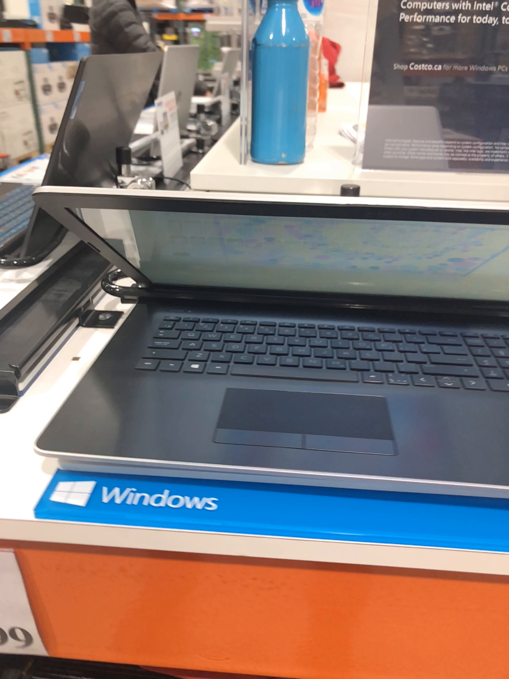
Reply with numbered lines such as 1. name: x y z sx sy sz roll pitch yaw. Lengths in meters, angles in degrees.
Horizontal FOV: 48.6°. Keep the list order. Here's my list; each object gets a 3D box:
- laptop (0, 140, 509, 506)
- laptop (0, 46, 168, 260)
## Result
1. laptop: 0.077 -0.044 0.406 0.405 0.150 0.259 3 26 5
2. laptop: -0.323 -0.273 0.767 0.330 0.212 0.342 3 27 3
